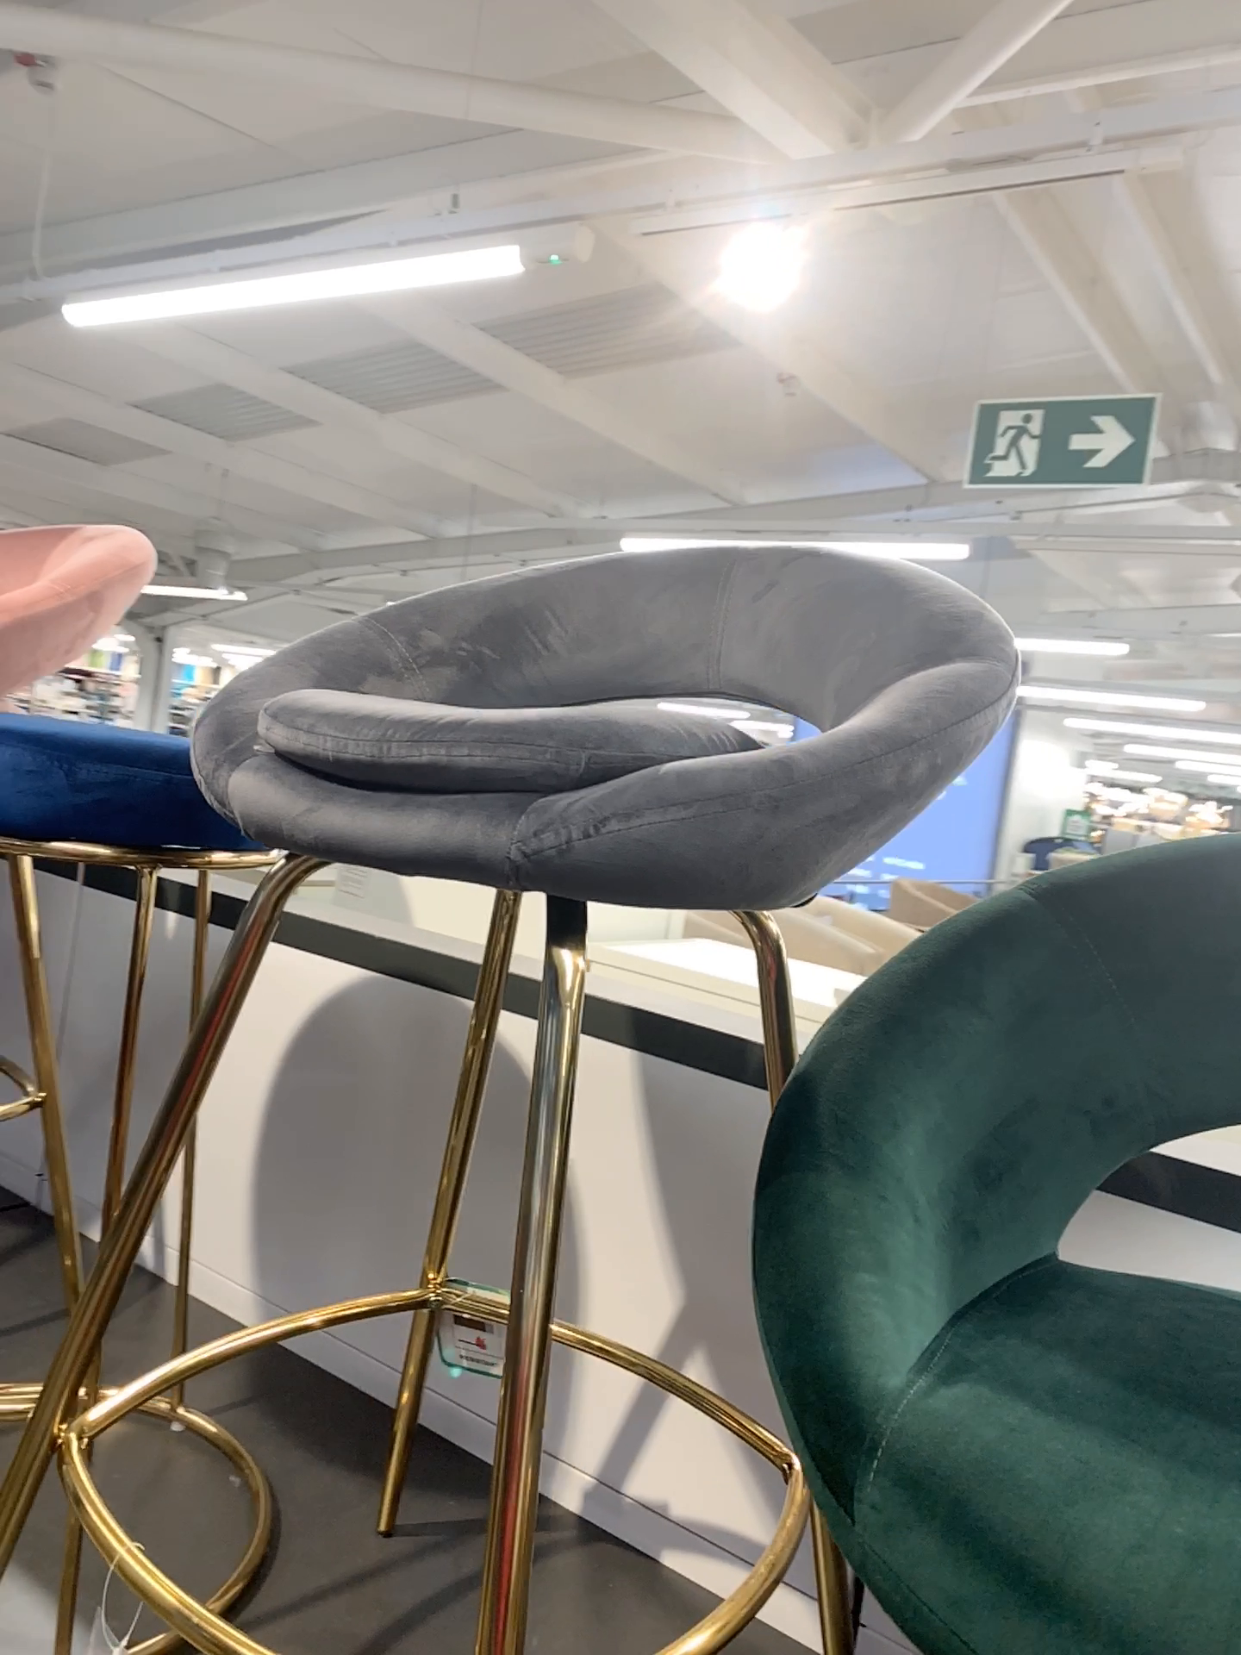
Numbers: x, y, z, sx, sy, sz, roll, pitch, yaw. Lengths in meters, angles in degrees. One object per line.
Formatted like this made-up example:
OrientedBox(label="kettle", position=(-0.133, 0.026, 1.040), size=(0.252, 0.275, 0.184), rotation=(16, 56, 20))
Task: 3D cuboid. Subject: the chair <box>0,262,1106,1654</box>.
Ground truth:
OrientedBox(label="chair", position=(-0.066, 0.198, 0.809), size=(0.486, 0.874, 0.474), rotation=(10, 2, 34))
